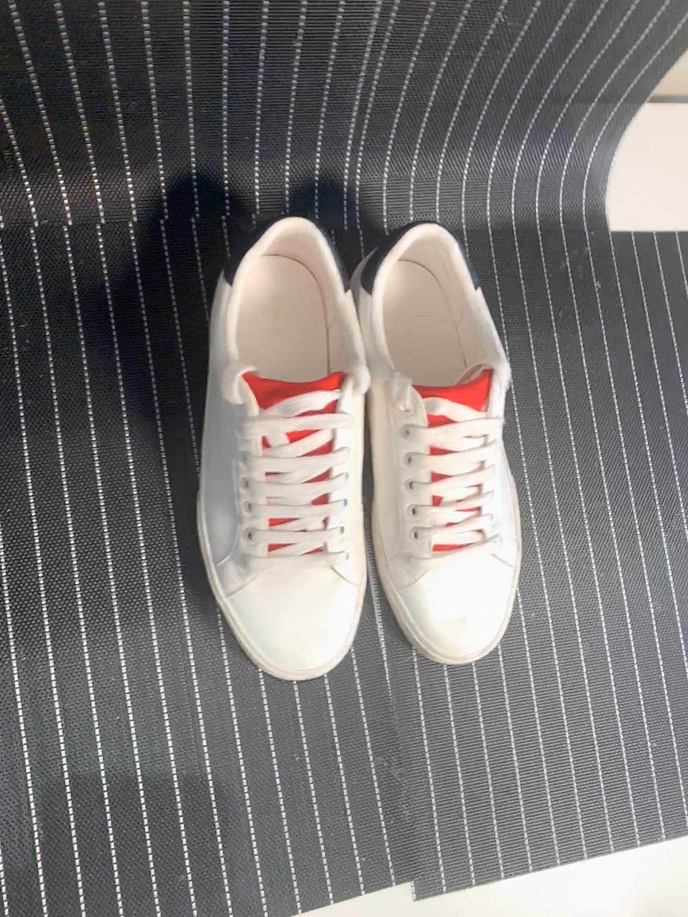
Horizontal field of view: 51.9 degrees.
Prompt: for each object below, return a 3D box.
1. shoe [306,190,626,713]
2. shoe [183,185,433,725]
[{"bbox_3d":[0.068,-0.008,0.451,0.120,0.090,0.290,-9,84,-14],"label":"shoe"},{"bbox_3d":[-0.031,-0.005,0.432,0.120,0.090,0.290,-2,82,-13],"label":"shoe"}]
